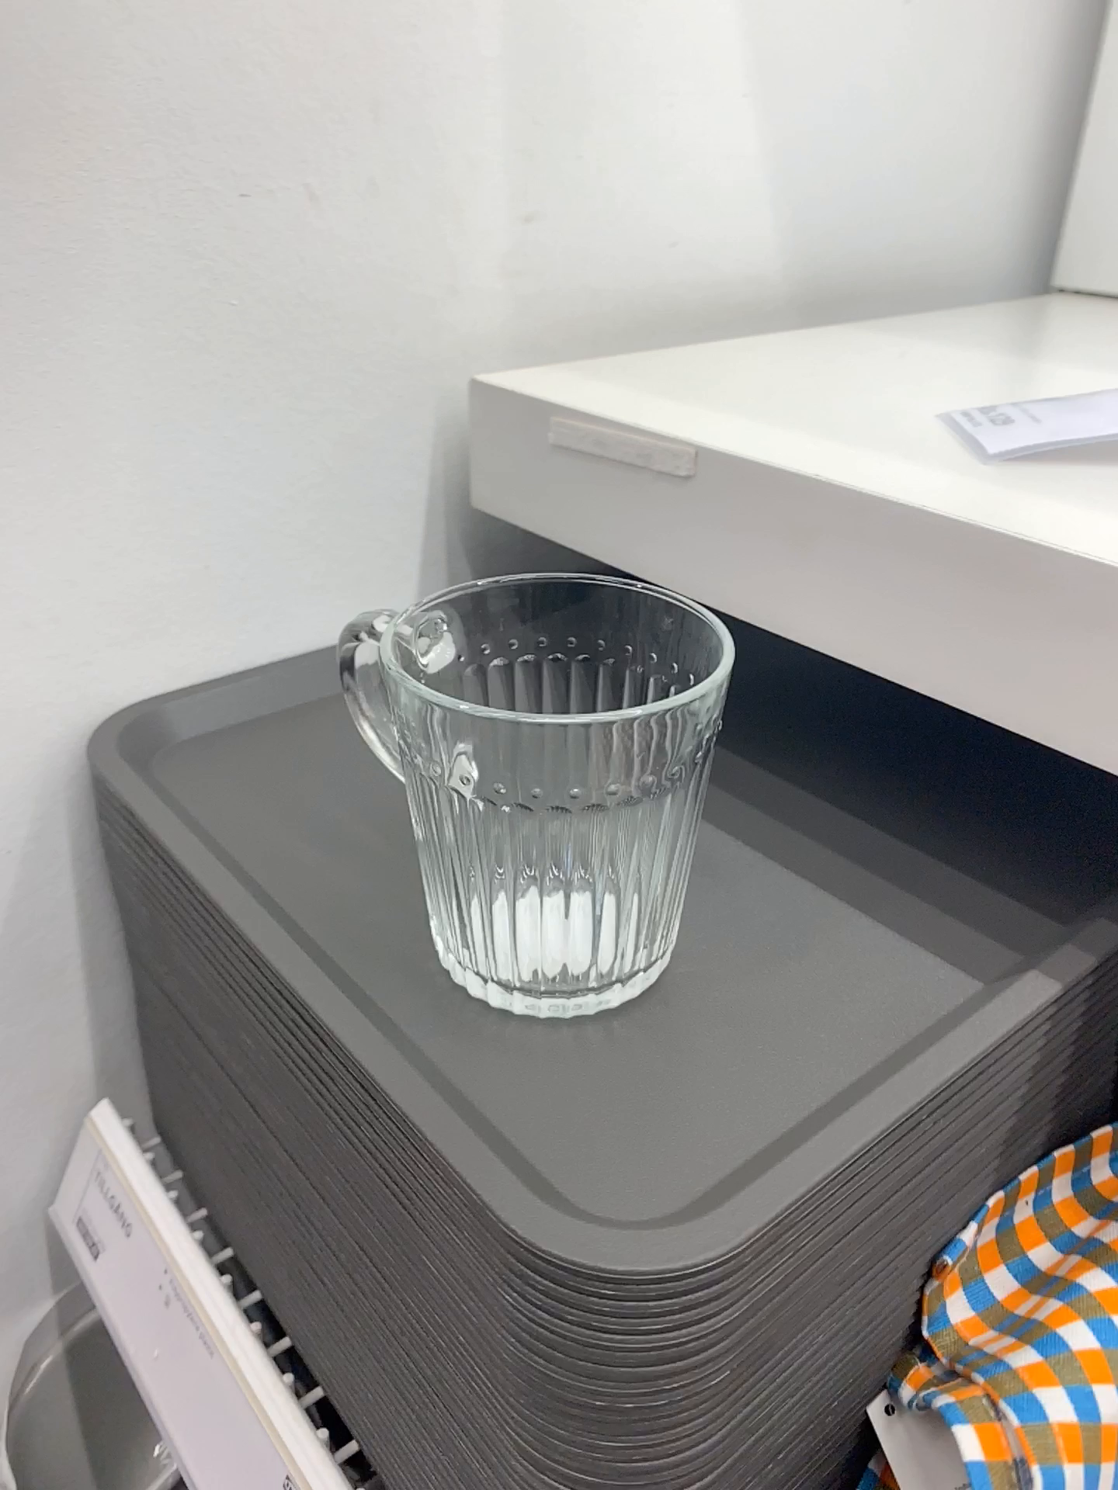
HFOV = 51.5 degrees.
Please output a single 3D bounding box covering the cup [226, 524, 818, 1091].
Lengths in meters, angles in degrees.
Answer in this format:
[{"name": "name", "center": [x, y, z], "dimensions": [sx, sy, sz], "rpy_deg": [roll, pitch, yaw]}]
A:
[{"name": "cup", "center": [-0.011, 0.005, 0.282], "dimensions": [0.110, 0.080, 0.080], "rpy_deg": [24, 35, 36]}]
